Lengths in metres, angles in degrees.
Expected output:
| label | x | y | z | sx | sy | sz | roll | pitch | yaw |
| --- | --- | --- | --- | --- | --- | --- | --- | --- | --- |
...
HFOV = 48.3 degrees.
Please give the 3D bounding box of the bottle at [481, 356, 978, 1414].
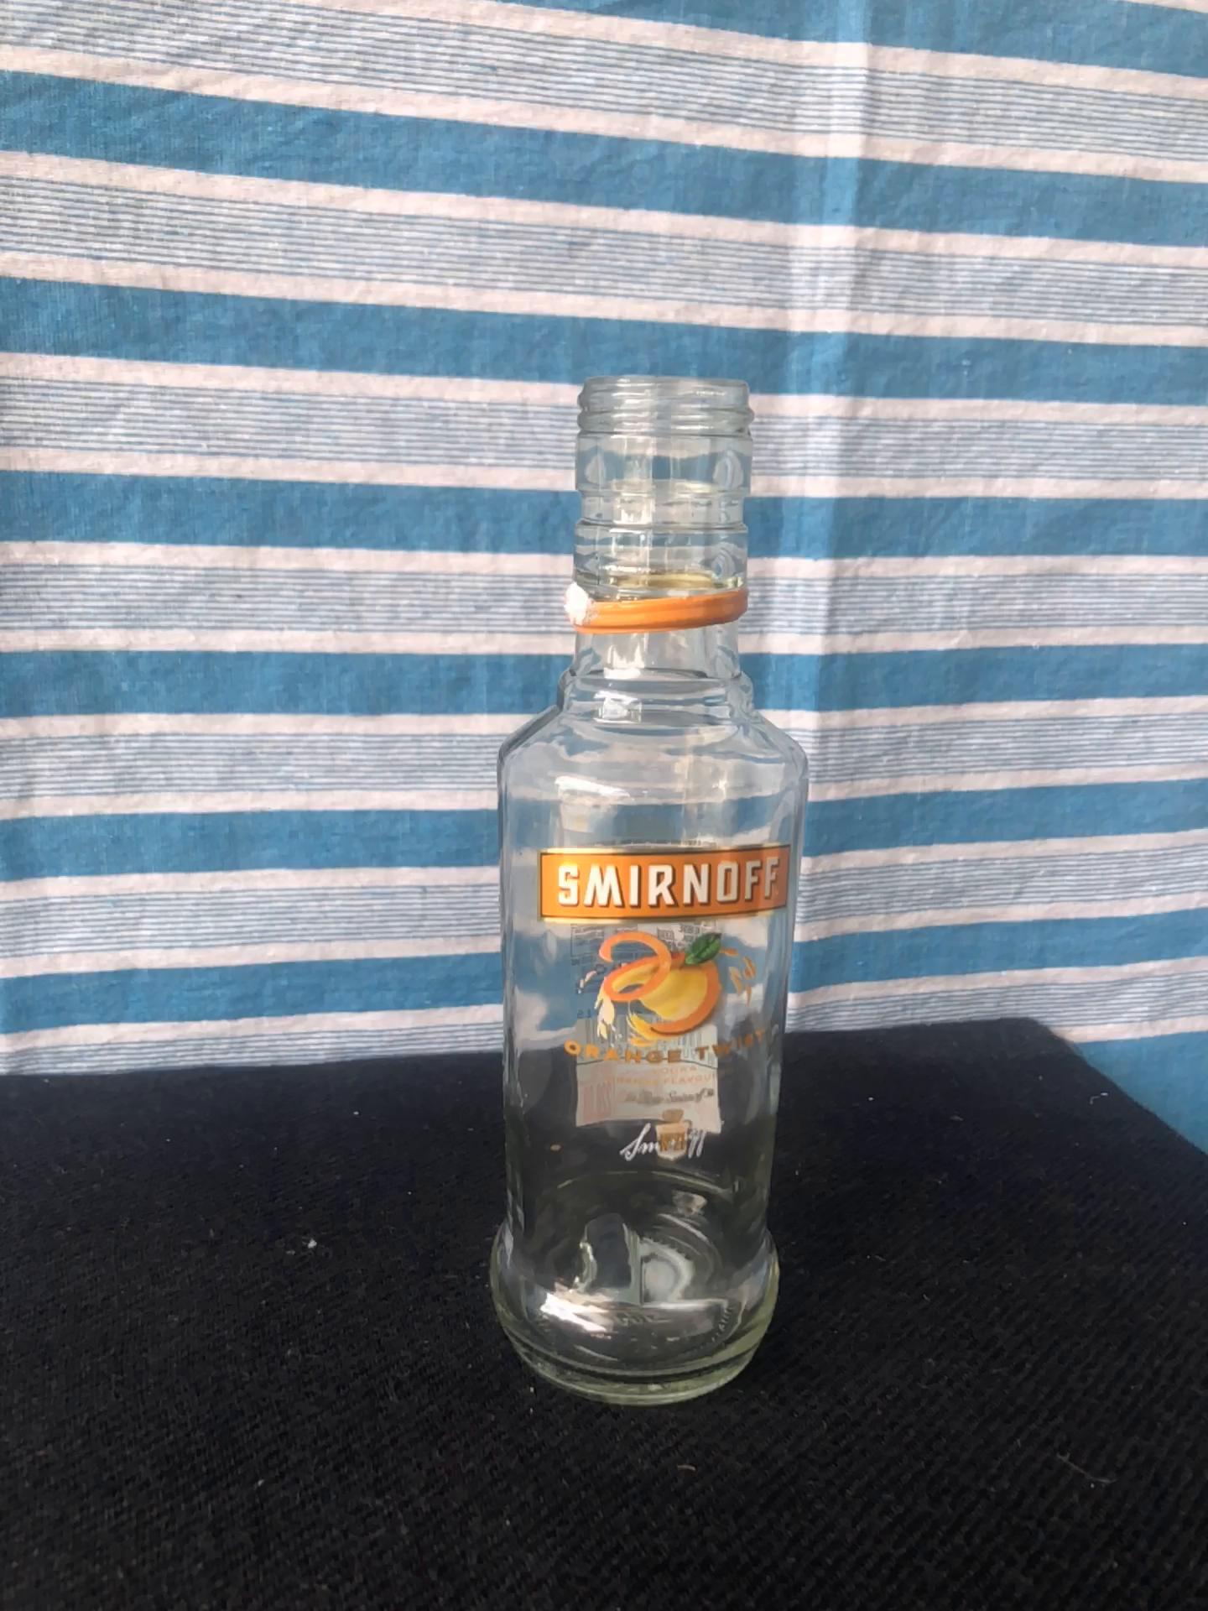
| label | x | y | z | sx | sy | sz | roll | pitch | yaw |
| --- | --- | --- | --- | --- | --- | --- | --- | --- | --- |
| bottle | 0.015 | 0.015 | 0.232 | 0.060 | 0.169 | 0.050 | 4 | 16 | -2 |
